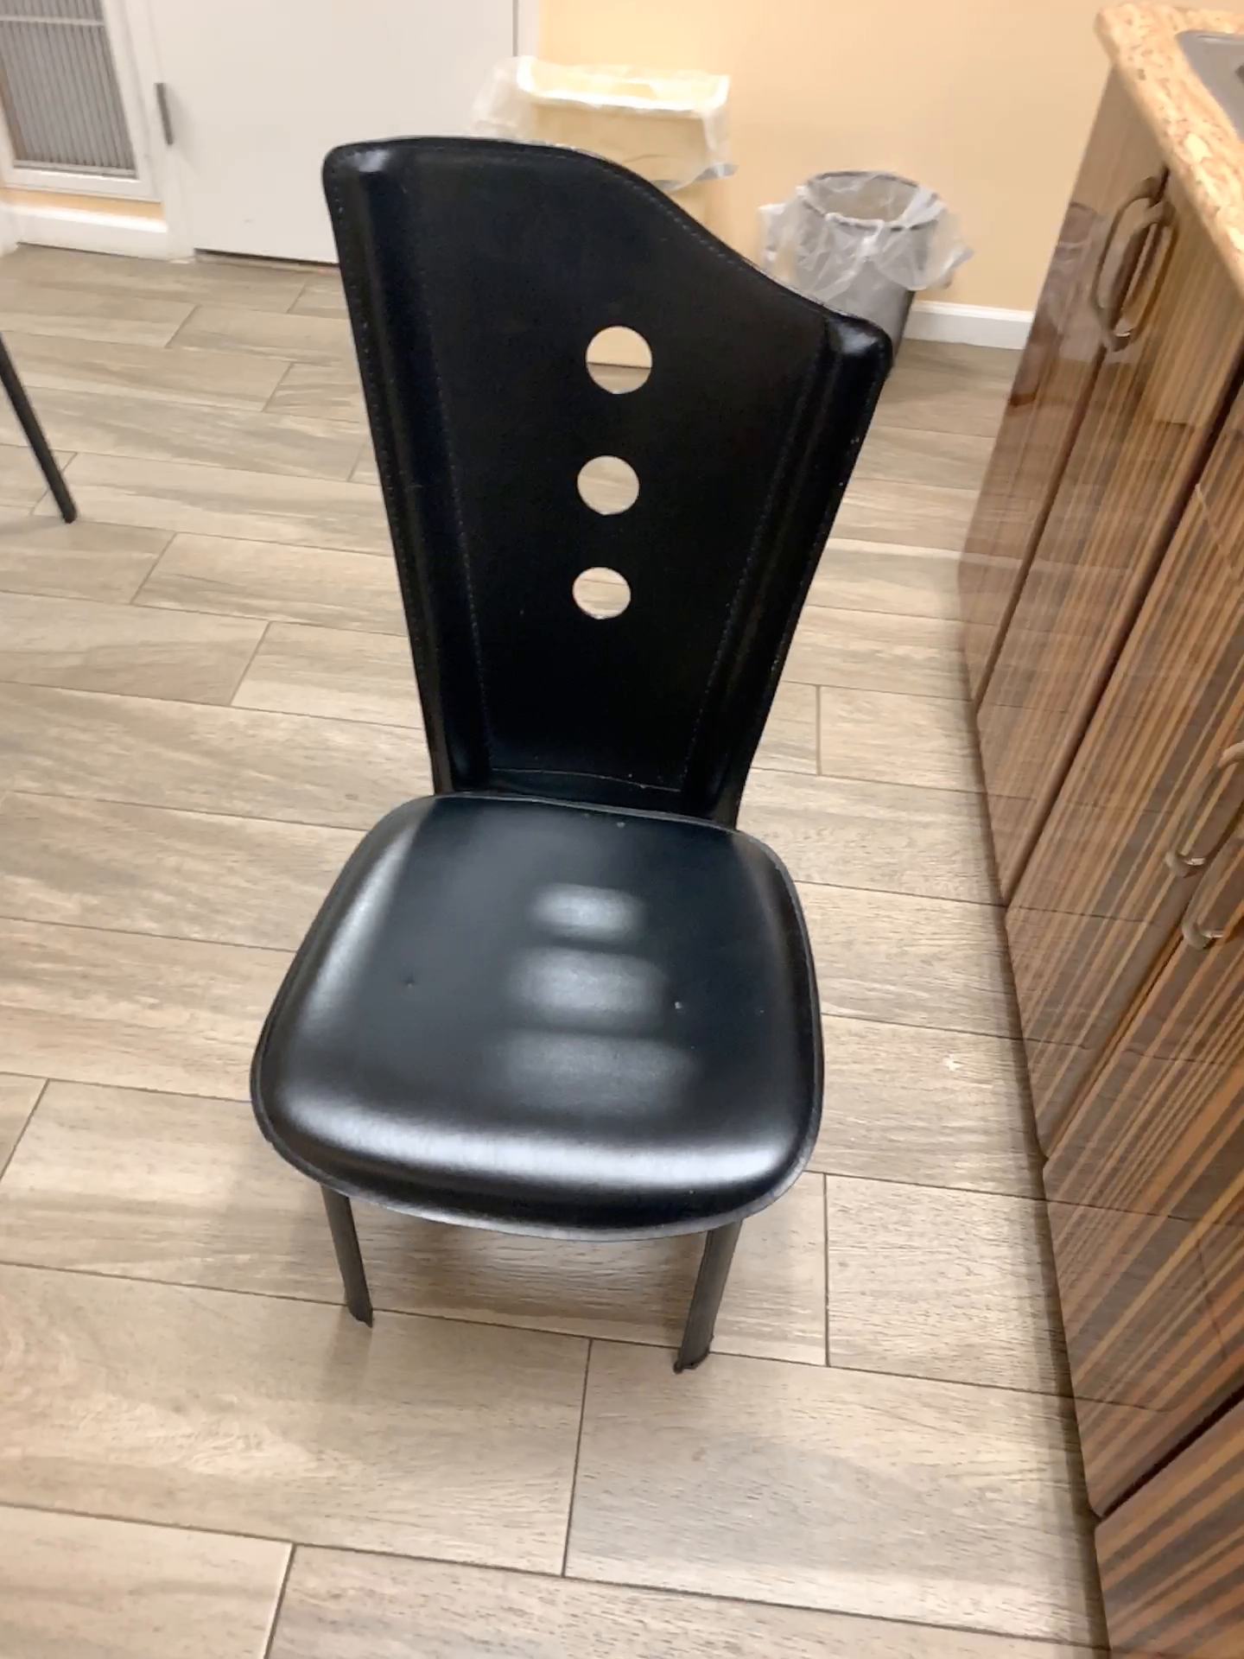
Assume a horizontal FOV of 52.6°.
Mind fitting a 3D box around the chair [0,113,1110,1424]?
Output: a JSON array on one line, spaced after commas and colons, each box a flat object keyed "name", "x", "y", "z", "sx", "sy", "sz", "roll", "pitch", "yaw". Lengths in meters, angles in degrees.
[{"name": "chair", "x": -0.034, "y": 0.038, "z": 1.019, "sx": 0.461, "sy": 0.942, "sz": 0.475, "roll": 7, "pitch": 46, "yaw": 2}]
